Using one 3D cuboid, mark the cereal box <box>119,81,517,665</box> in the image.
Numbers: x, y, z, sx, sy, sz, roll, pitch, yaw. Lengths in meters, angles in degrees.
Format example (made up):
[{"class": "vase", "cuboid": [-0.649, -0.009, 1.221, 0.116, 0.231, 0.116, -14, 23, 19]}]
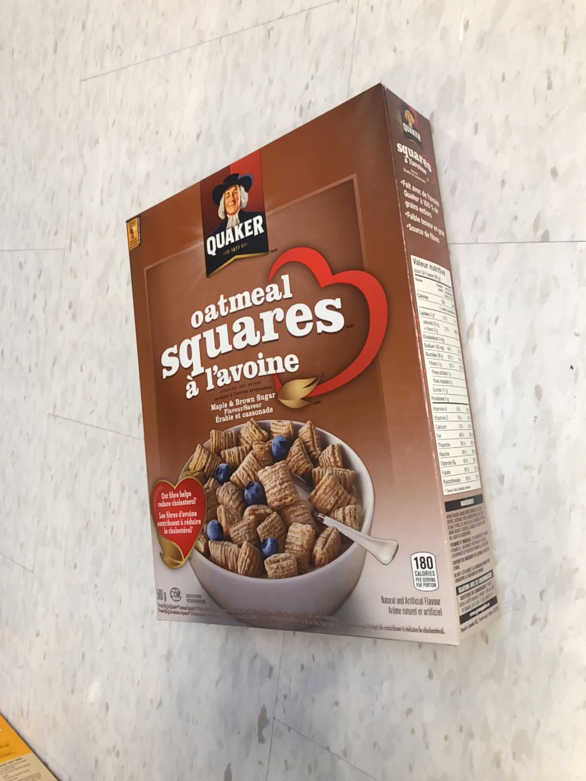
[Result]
[{"class": "cereal box", "cuboid": [-0.002, 0.002, 0.385, 0.211, 0.070, 0.270, -12, 80, 38]}]
